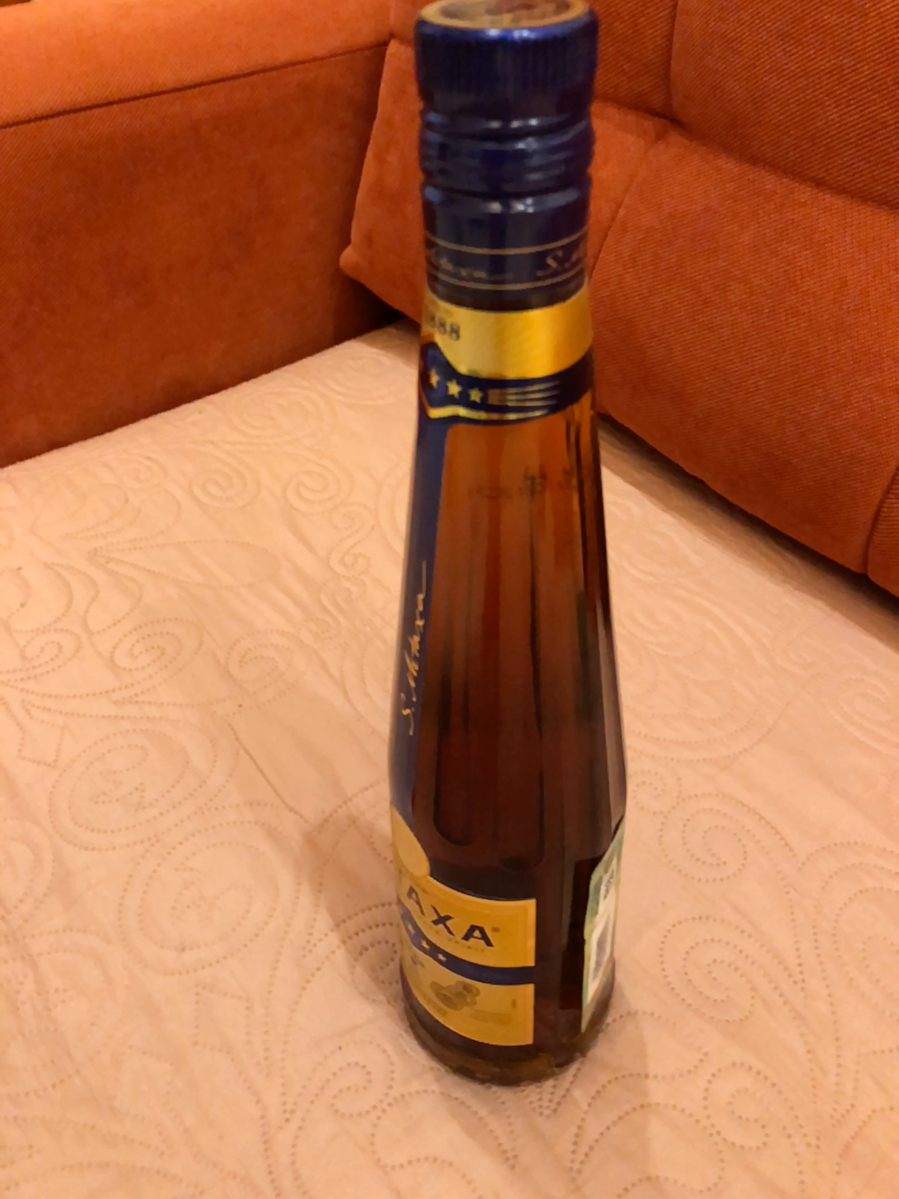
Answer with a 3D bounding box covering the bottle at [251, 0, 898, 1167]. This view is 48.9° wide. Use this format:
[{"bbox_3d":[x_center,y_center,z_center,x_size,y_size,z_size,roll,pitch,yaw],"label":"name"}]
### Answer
[{"bbox_3d":[0.025,0.027,0.258,0.090,0.308,0.101,-17,47,-18],"label":"bottle"}]
